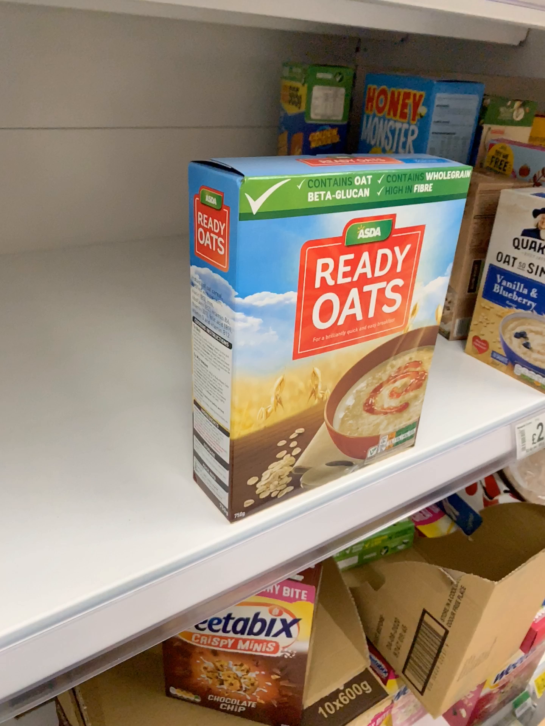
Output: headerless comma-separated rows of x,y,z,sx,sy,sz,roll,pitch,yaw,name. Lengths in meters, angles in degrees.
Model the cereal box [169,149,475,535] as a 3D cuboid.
0.033,-0.024,0.441,0.211,0.258,0.070,-15,33,-32,cereal box
